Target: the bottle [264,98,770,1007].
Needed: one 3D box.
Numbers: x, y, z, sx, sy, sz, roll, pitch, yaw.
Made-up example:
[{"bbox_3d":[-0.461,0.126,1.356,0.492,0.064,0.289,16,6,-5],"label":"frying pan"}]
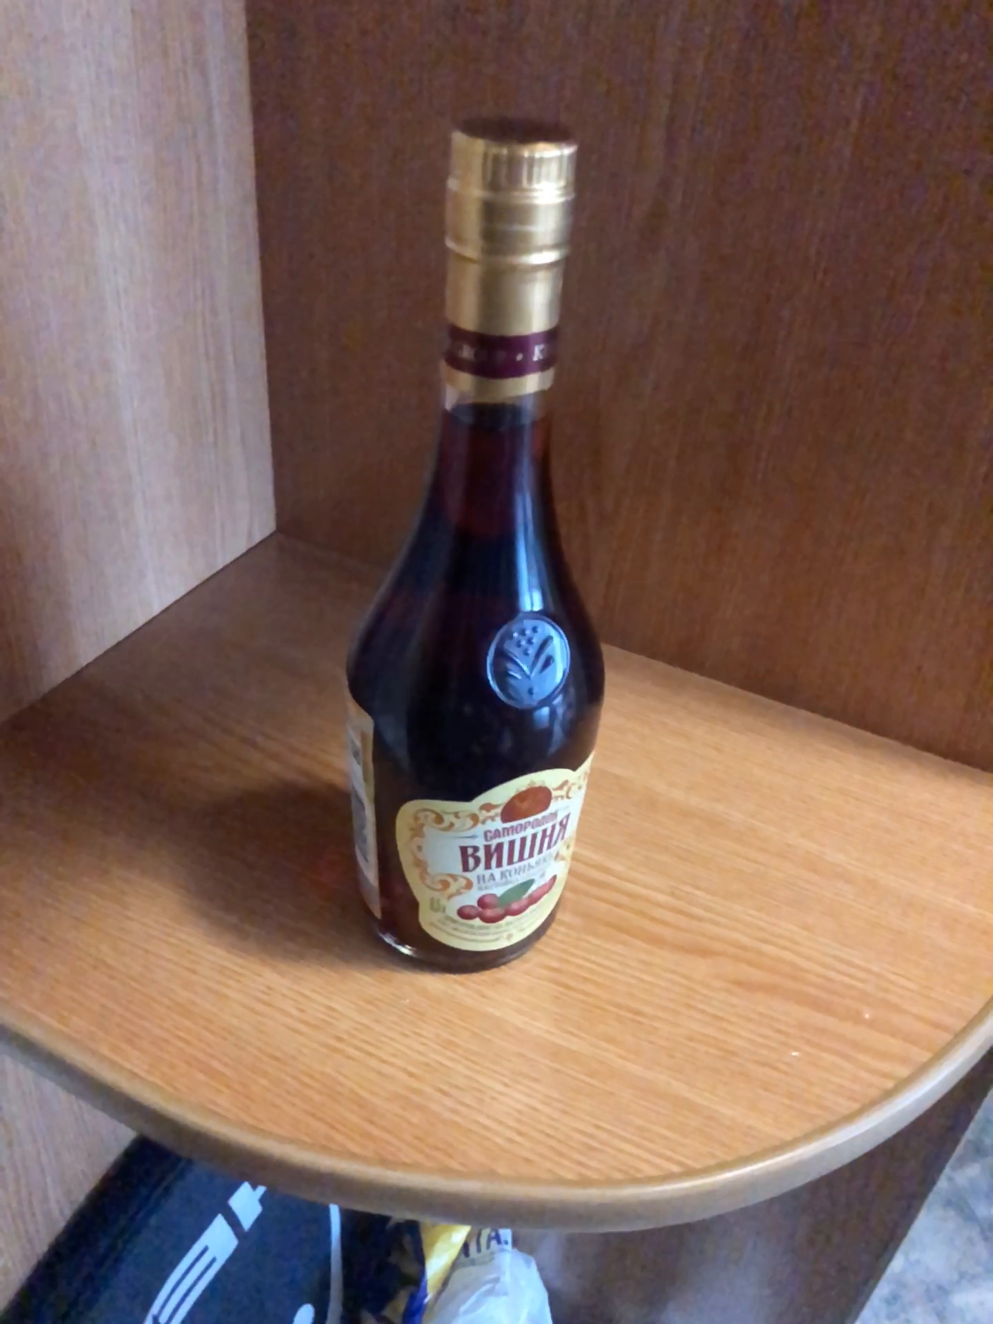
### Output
[{"bbox_3d":[-0.007,-0.021,0.318,0.090,0.244,0.080,-11,39,-20],"label":"bottle"}]
